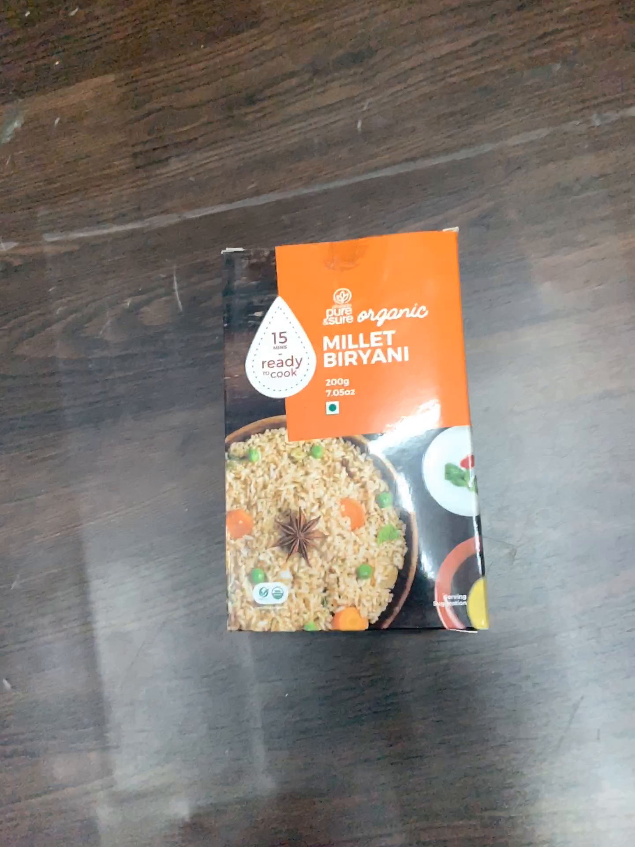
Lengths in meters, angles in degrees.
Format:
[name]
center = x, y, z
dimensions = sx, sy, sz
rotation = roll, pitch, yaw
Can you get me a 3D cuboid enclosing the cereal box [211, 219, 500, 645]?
[cereal box]
center = 0.014, 0.005, 0.289
dimensions = 0.110, 0.050, 0.170
rotation = -2, 81, 5
